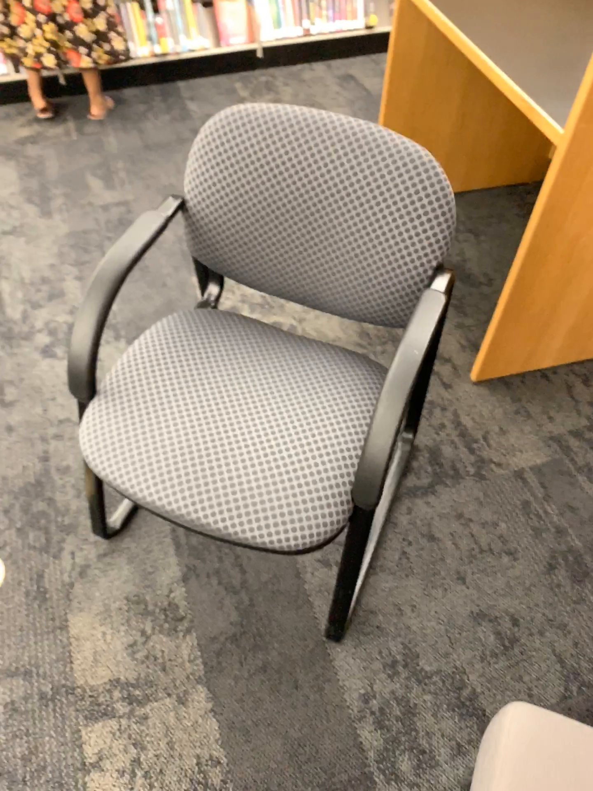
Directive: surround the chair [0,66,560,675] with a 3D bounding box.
[{"bbox_3d":[-0.039,-0.068,1.170,0.731,0.677,0.722,19,53,14],"label":"chair"}]
